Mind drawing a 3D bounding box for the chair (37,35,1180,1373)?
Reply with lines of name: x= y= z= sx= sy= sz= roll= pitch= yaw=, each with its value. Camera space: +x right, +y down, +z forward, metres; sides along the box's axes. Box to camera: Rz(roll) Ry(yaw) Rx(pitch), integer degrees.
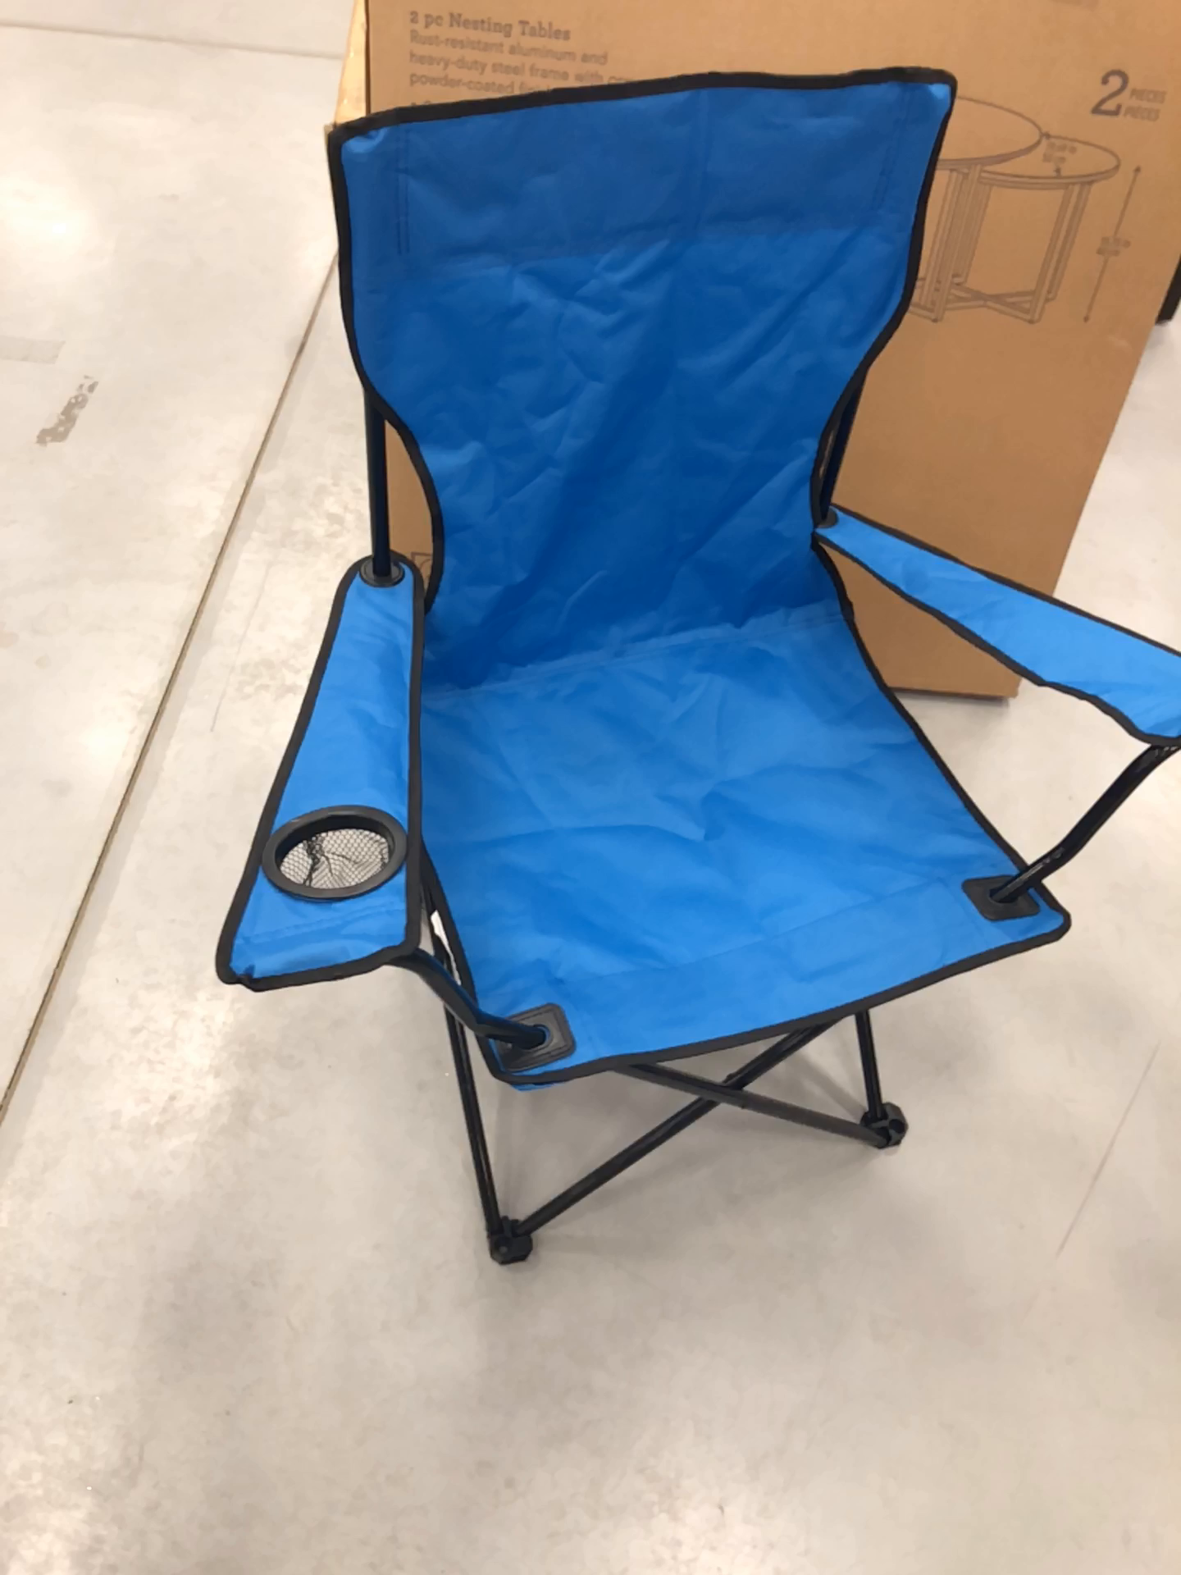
chair: x=0.066 y=-0.054 z=1.134 sx=0.790 sy=0.838 sz=0.622 roll=-13 pitch=53 yaw=-16
